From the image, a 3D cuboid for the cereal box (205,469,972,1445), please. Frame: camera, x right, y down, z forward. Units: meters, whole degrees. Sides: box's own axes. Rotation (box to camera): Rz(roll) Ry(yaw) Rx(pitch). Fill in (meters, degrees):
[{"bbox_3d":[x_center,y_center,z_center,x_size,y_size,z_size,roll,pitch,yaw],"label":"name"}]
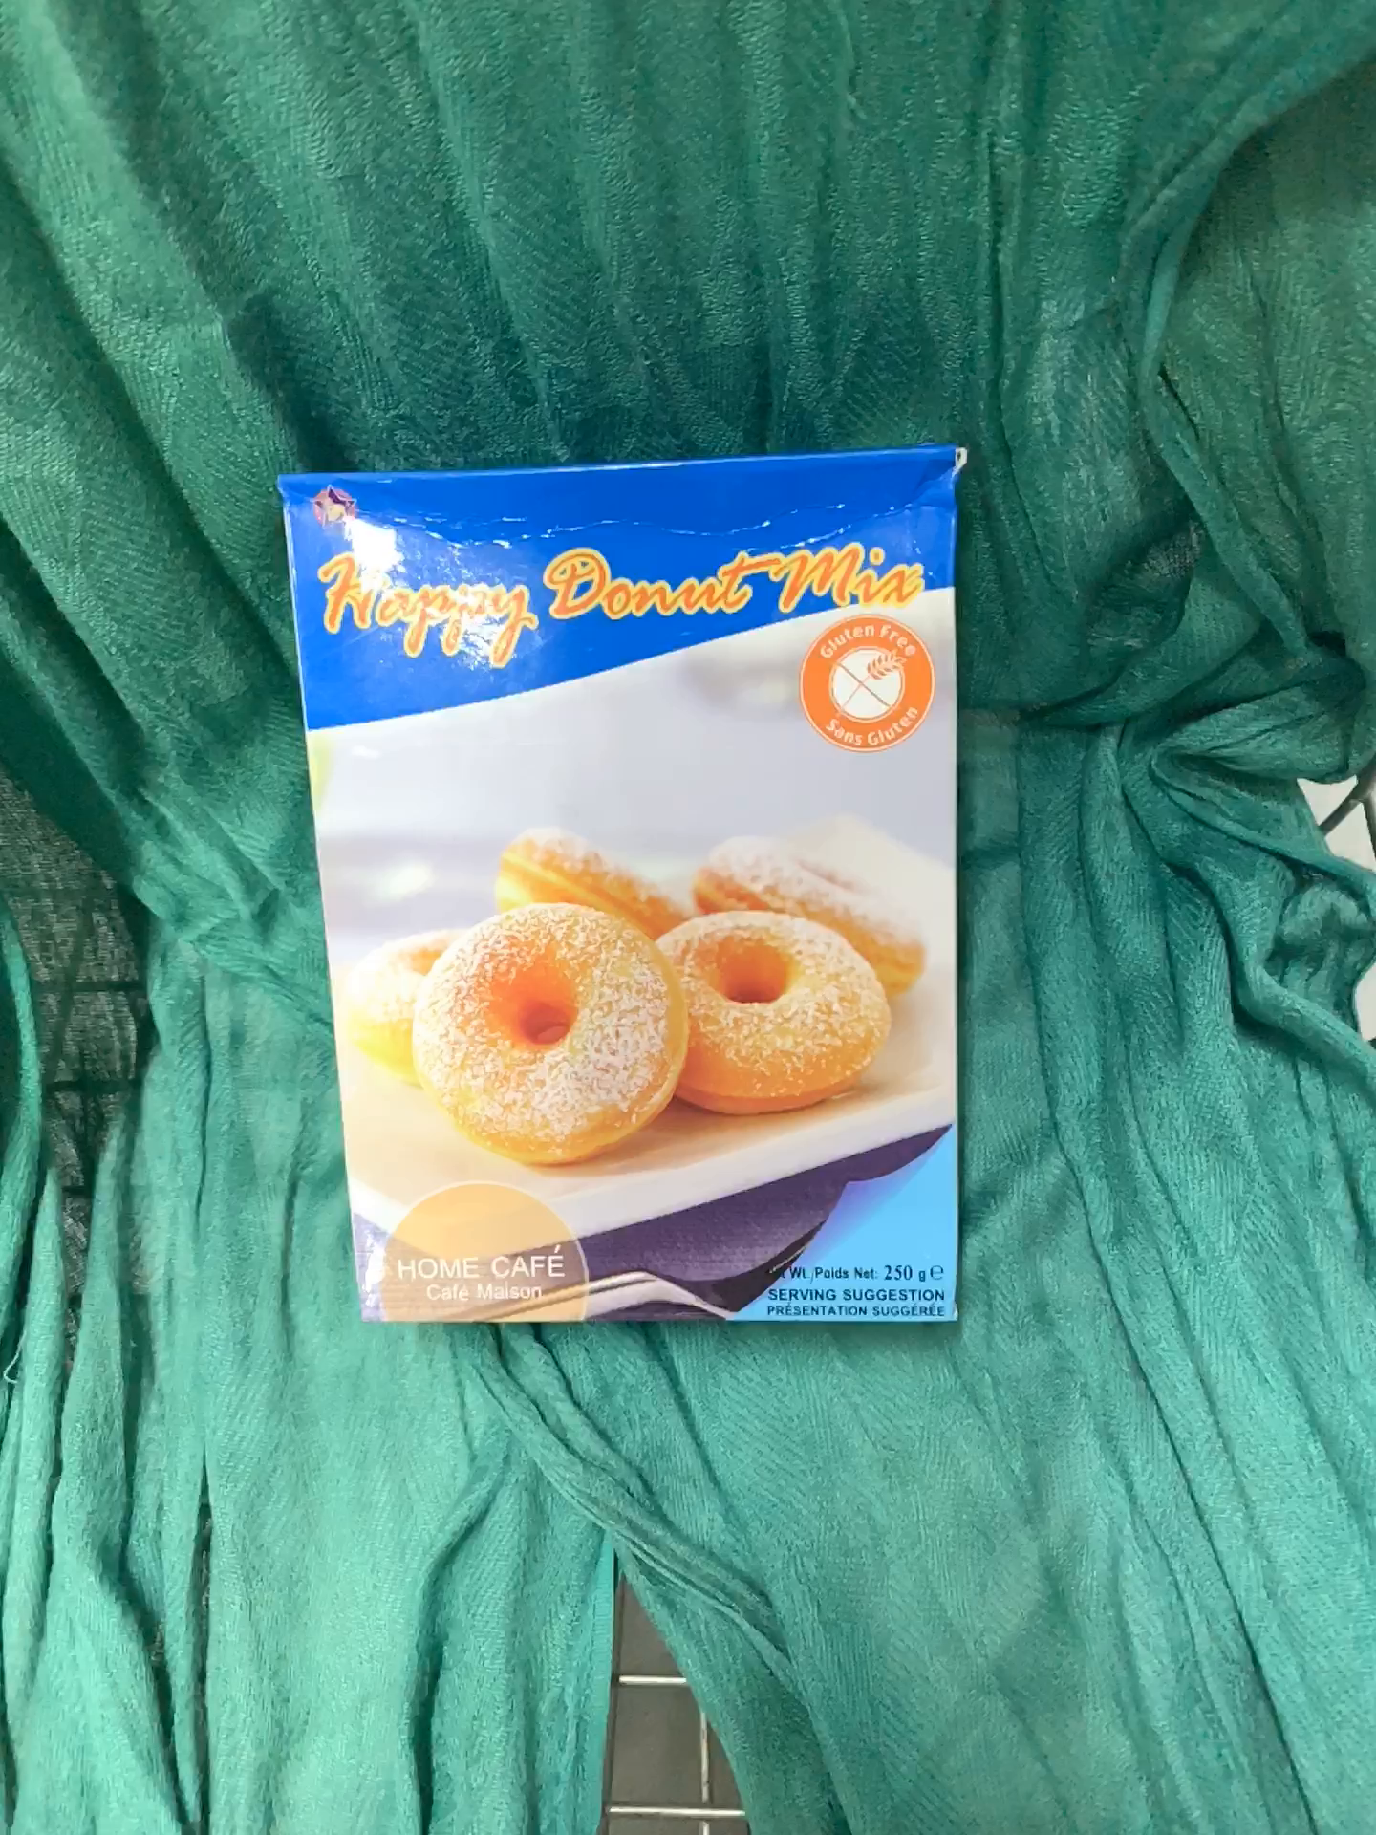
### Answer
[{"bbox_3d":[-0.012,0.009,0.287,0.130,0.060,0.180,-2,103,3],"label":"cereal box"}]
